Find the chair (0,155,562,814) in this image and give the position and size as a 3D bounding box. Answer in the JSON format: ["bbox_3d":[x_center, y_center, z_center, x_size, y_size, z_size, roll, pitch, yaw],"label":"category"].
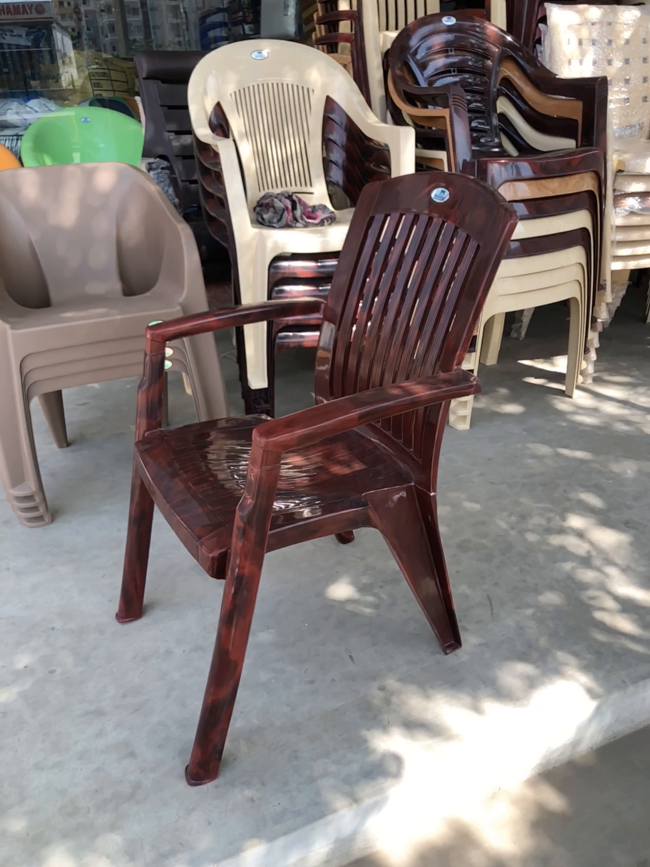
[{"bbox_3d":[-0.094,-0.003,1.295,0.692,0.856,0.611,-16,29,-25],"label":"chair"}]
